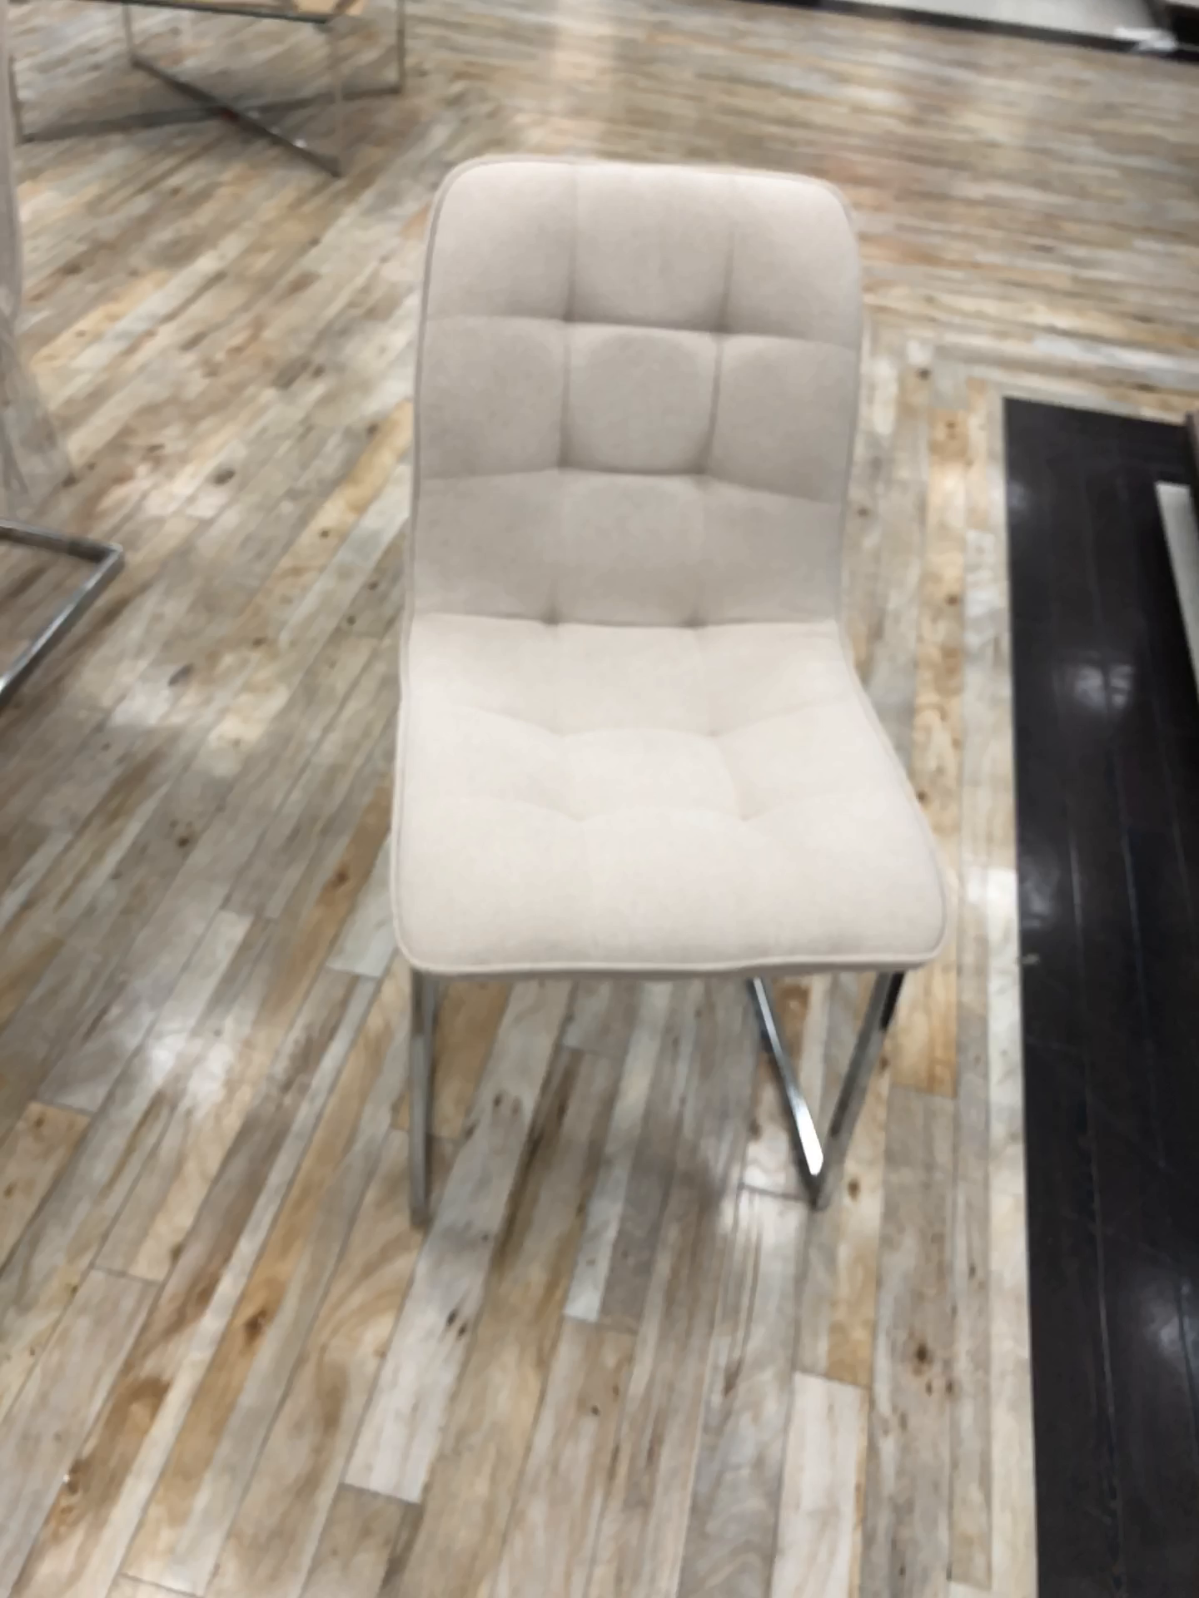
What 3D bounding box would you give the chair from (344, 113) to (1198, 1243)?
[{"bbox_3d":[0.050,-0.085,1.243,0.490,0.837,0.592,1,42,-6],"label":"chair"}]
